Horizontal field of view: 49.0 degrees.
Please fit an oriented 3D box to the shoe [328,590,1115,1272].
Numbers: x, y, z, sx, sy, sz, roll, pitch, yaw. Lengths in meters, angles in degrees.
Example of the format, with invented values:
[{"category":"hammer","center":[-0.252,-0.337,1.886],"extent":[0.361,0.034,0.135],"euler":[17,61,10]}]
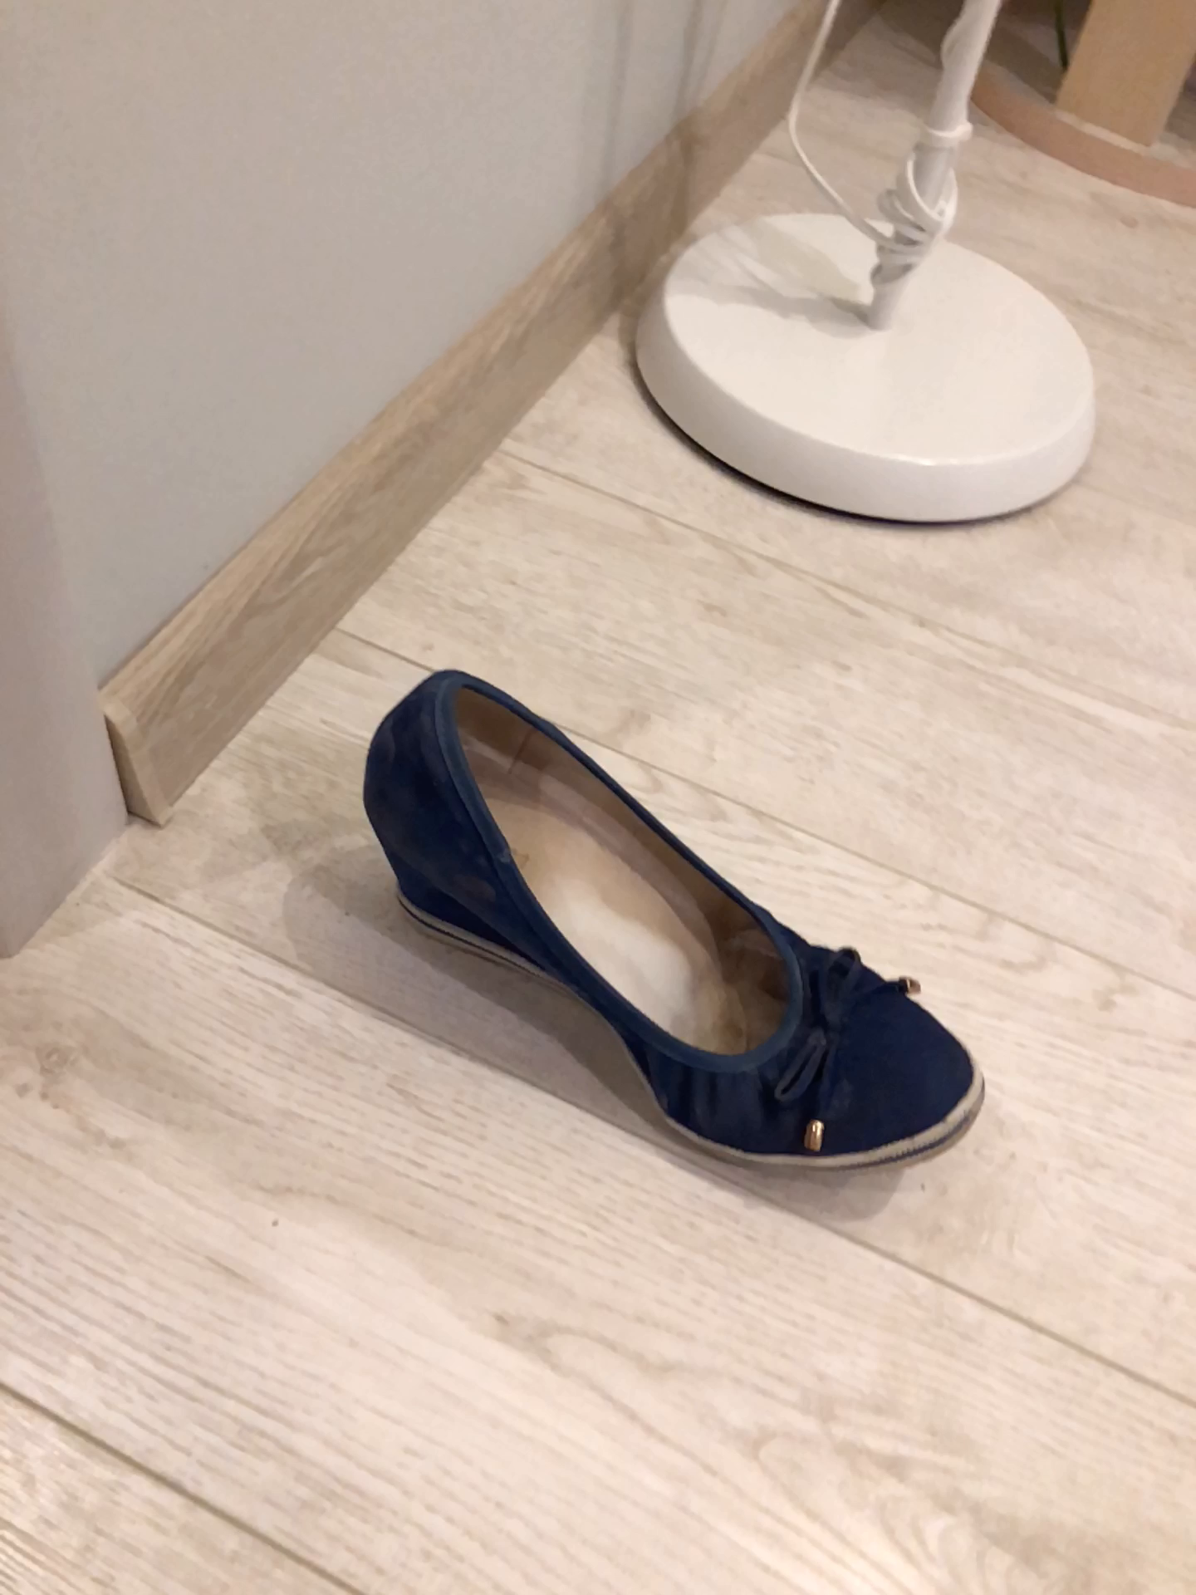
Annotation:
[{"category":"shoe","center":[0.033,0.042,0.453],"extent":[0.230,0.109,0.099],"euler":[26,51,13]}]
